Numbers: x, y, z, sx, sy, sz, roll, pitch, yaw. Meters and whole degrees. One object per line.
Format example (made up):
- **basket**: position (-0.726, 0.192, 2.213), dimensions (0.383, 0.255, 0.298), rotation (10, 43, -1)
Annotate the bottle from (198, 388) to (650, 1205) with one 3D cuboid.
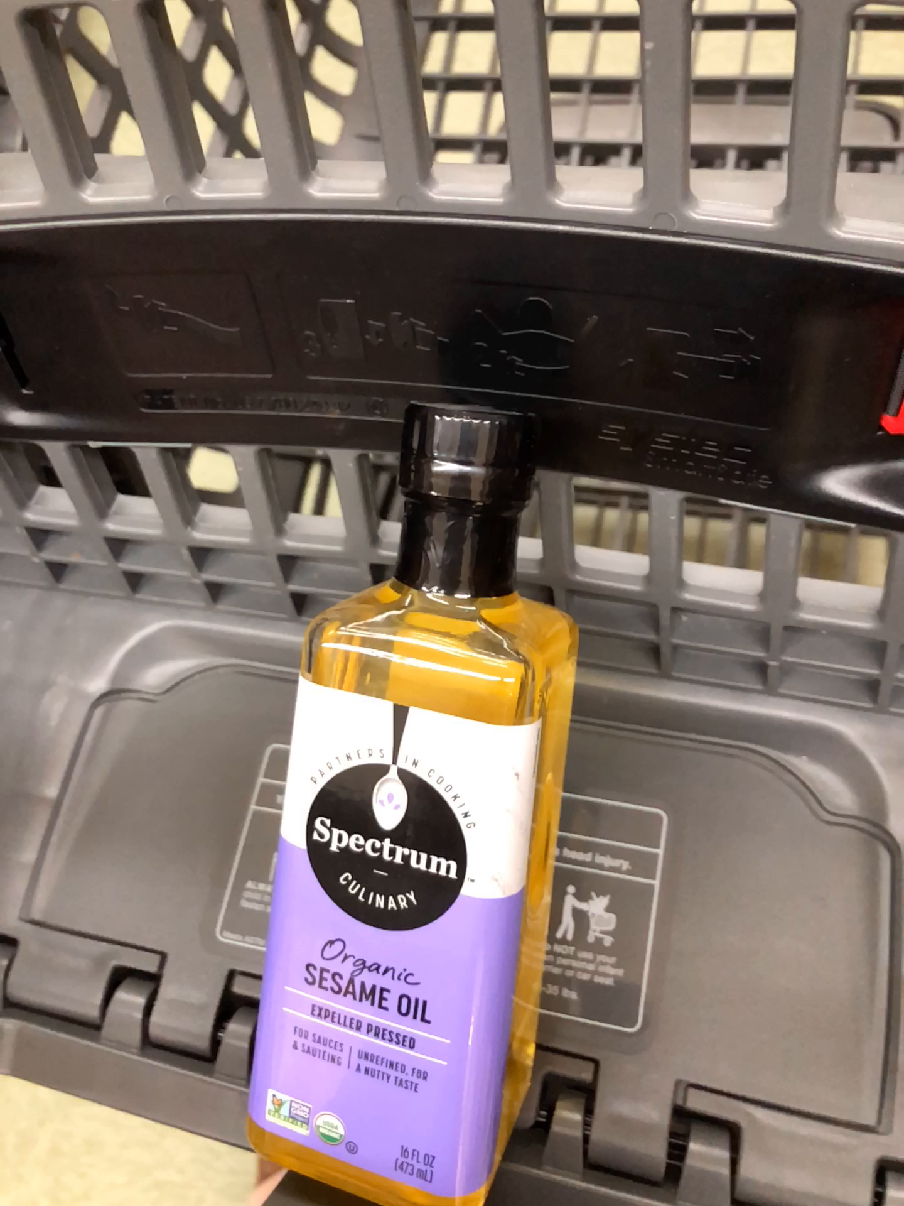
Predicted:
- **bottle**: position (-0.009, 0.053, 0.258), dimensions (0.080, 0.065, 0.200), rotation (11, 107, 15)
